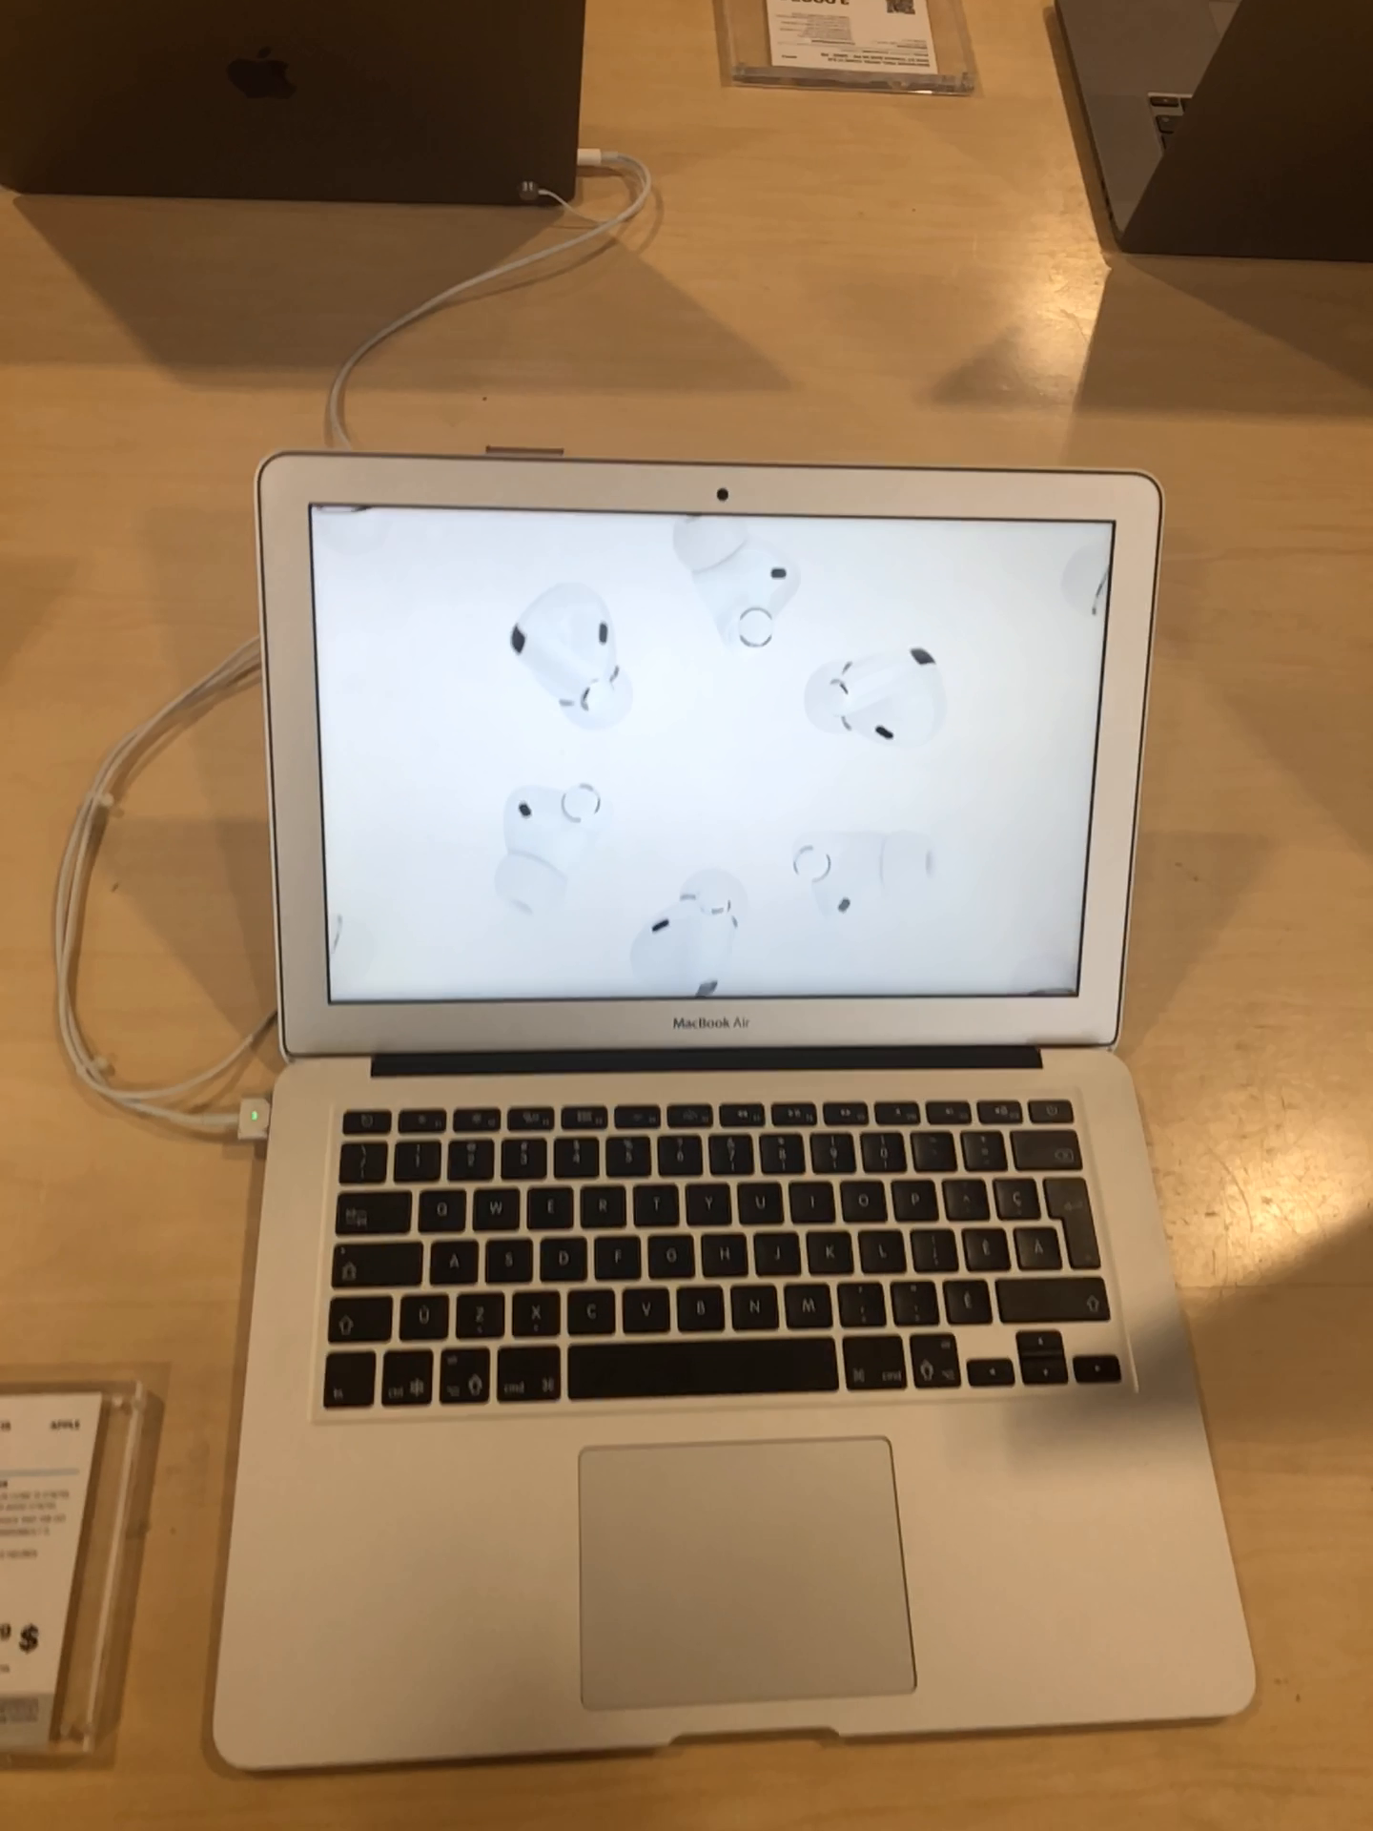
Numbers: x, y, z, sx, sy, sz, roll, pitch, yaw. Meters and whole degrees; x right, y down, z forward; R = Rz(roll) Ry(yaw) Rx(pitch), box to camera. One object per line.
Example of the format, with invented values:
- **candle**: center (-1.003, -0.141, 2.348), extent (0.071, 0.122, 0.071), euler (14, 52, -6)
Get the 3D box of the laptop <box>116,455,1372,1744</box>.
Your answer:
- **laptop**: center (0.015, 0.044, 0.482), extent (0.302, 0.137, 0.371), euler (0, 61, -6)
